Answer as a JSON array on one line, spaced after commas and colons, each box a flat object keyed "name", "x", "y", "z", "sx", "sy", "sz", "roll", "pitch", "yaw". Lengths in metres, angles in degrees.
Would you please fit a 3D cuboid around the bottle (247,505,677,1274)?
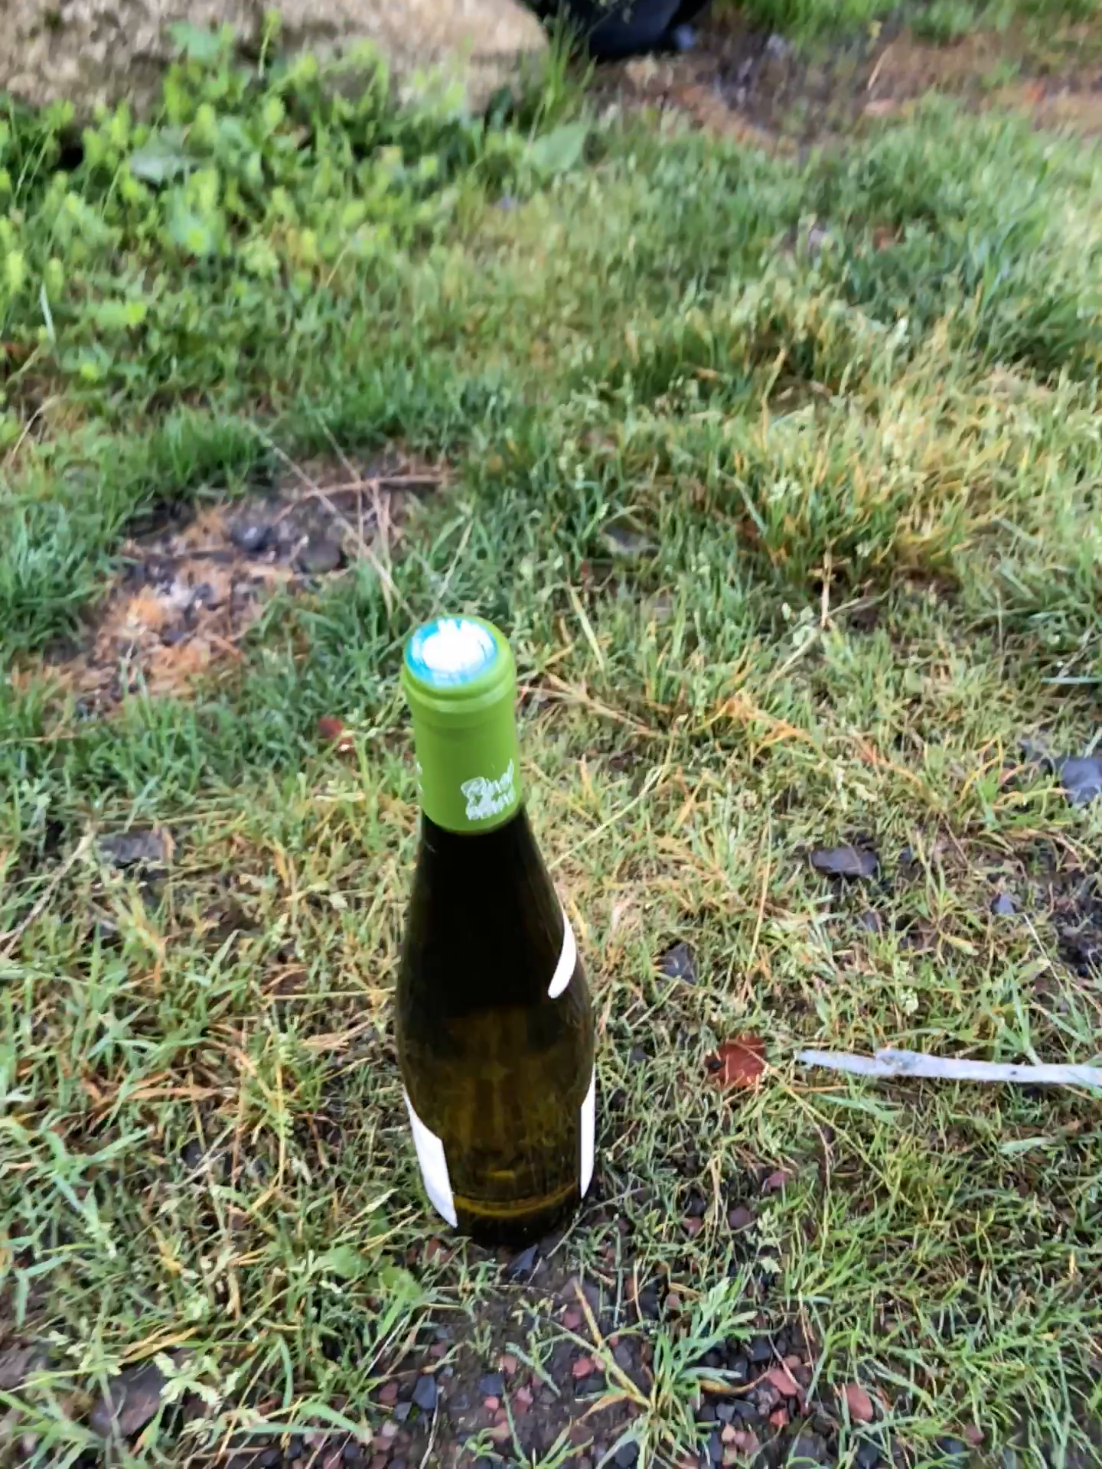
[{"name": "bottle", "x": -0.020, "y": 0.082, "z": 0.440, "sx": 0.090, "sy": 0.318, "sz": 0.090, "roll": -2, "pitch": 49, "yaw": 2}]
